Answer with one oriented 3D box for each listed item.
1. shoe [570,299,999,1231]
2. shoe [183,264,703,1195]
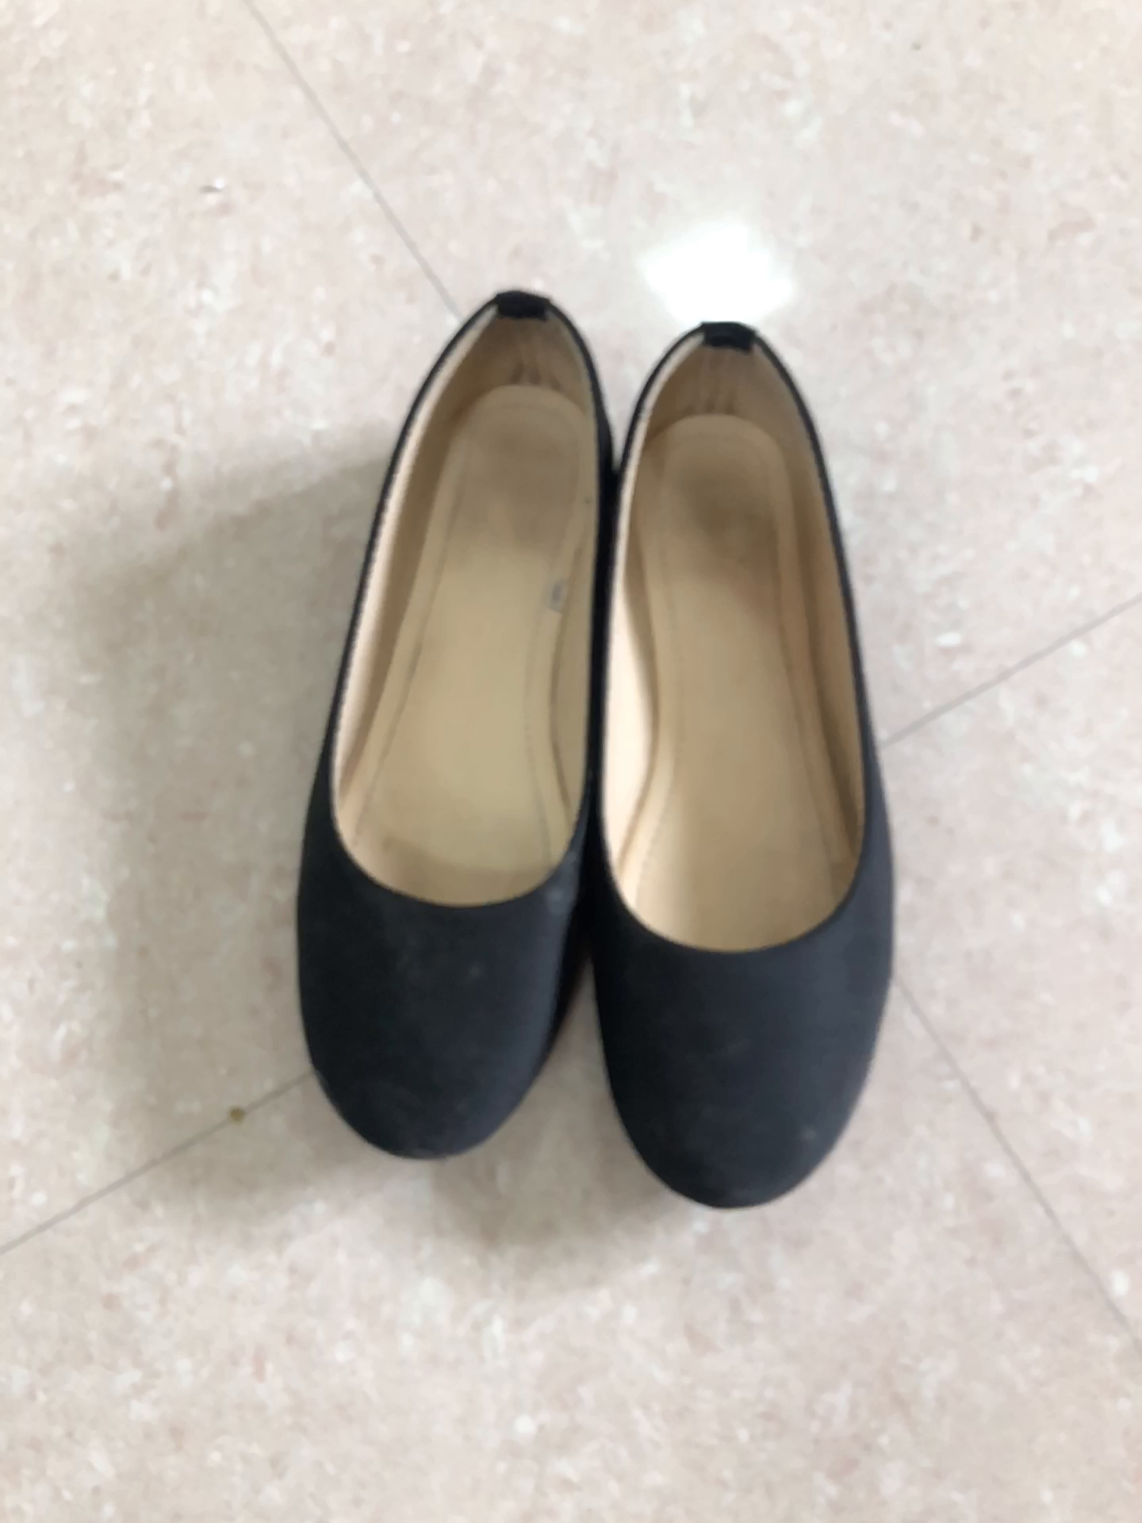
[{"bbox_3d":[0.051,-0.002,0.352,0.092,0.075,0.239,1,71,2],"label":"shoe"},{"bbox_3d":[-0.024,-0.011,0.359,0.092,0.075,0.239,7,72,4],"label":"shoe"}]
